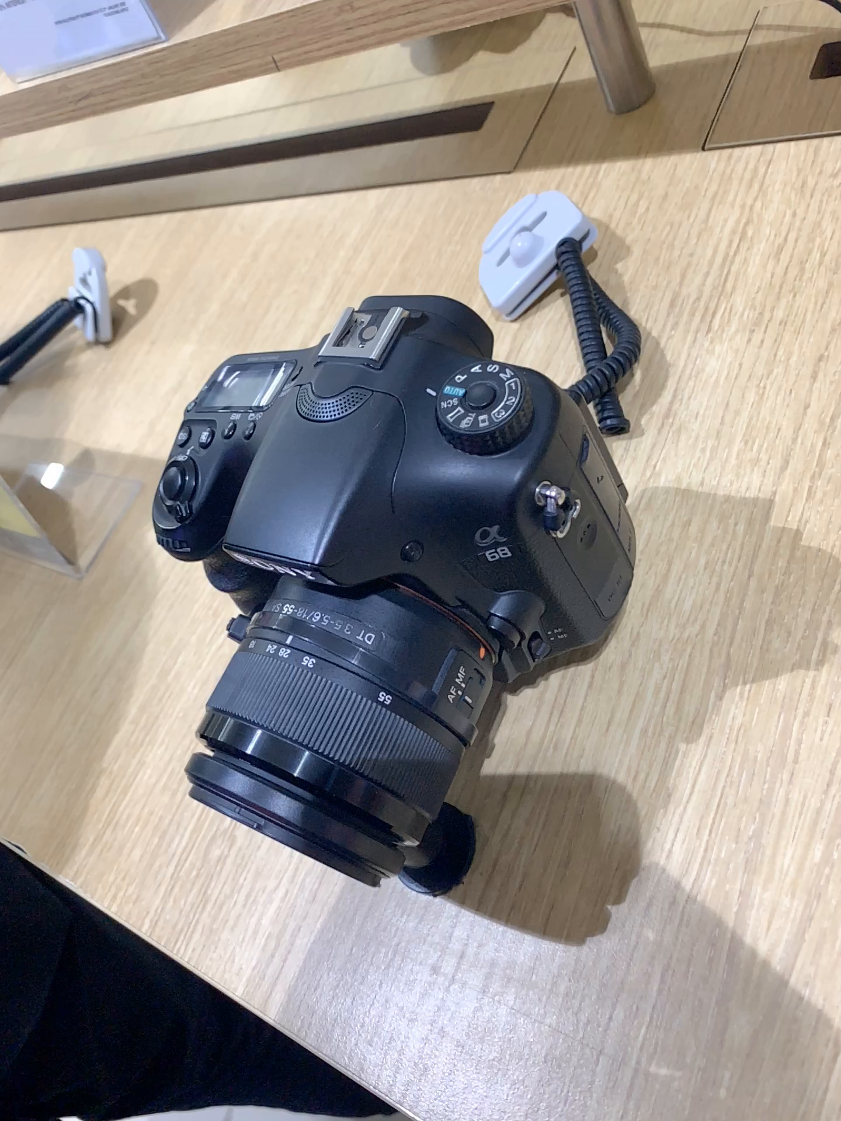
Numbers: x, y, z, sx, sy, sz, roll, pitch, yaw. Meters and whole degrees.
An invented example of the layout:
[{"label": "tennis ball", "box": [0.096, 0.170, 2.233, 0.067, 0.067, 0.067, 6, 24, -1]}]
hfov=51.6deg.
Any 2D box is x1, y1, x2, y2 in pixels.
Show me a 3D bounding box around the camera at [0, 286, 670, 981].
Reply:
[{"label": "camera", "box": [-0.025, 0.014, 0.241, 0.131, 0.100, 0.134, 9, 66, 35]}]
